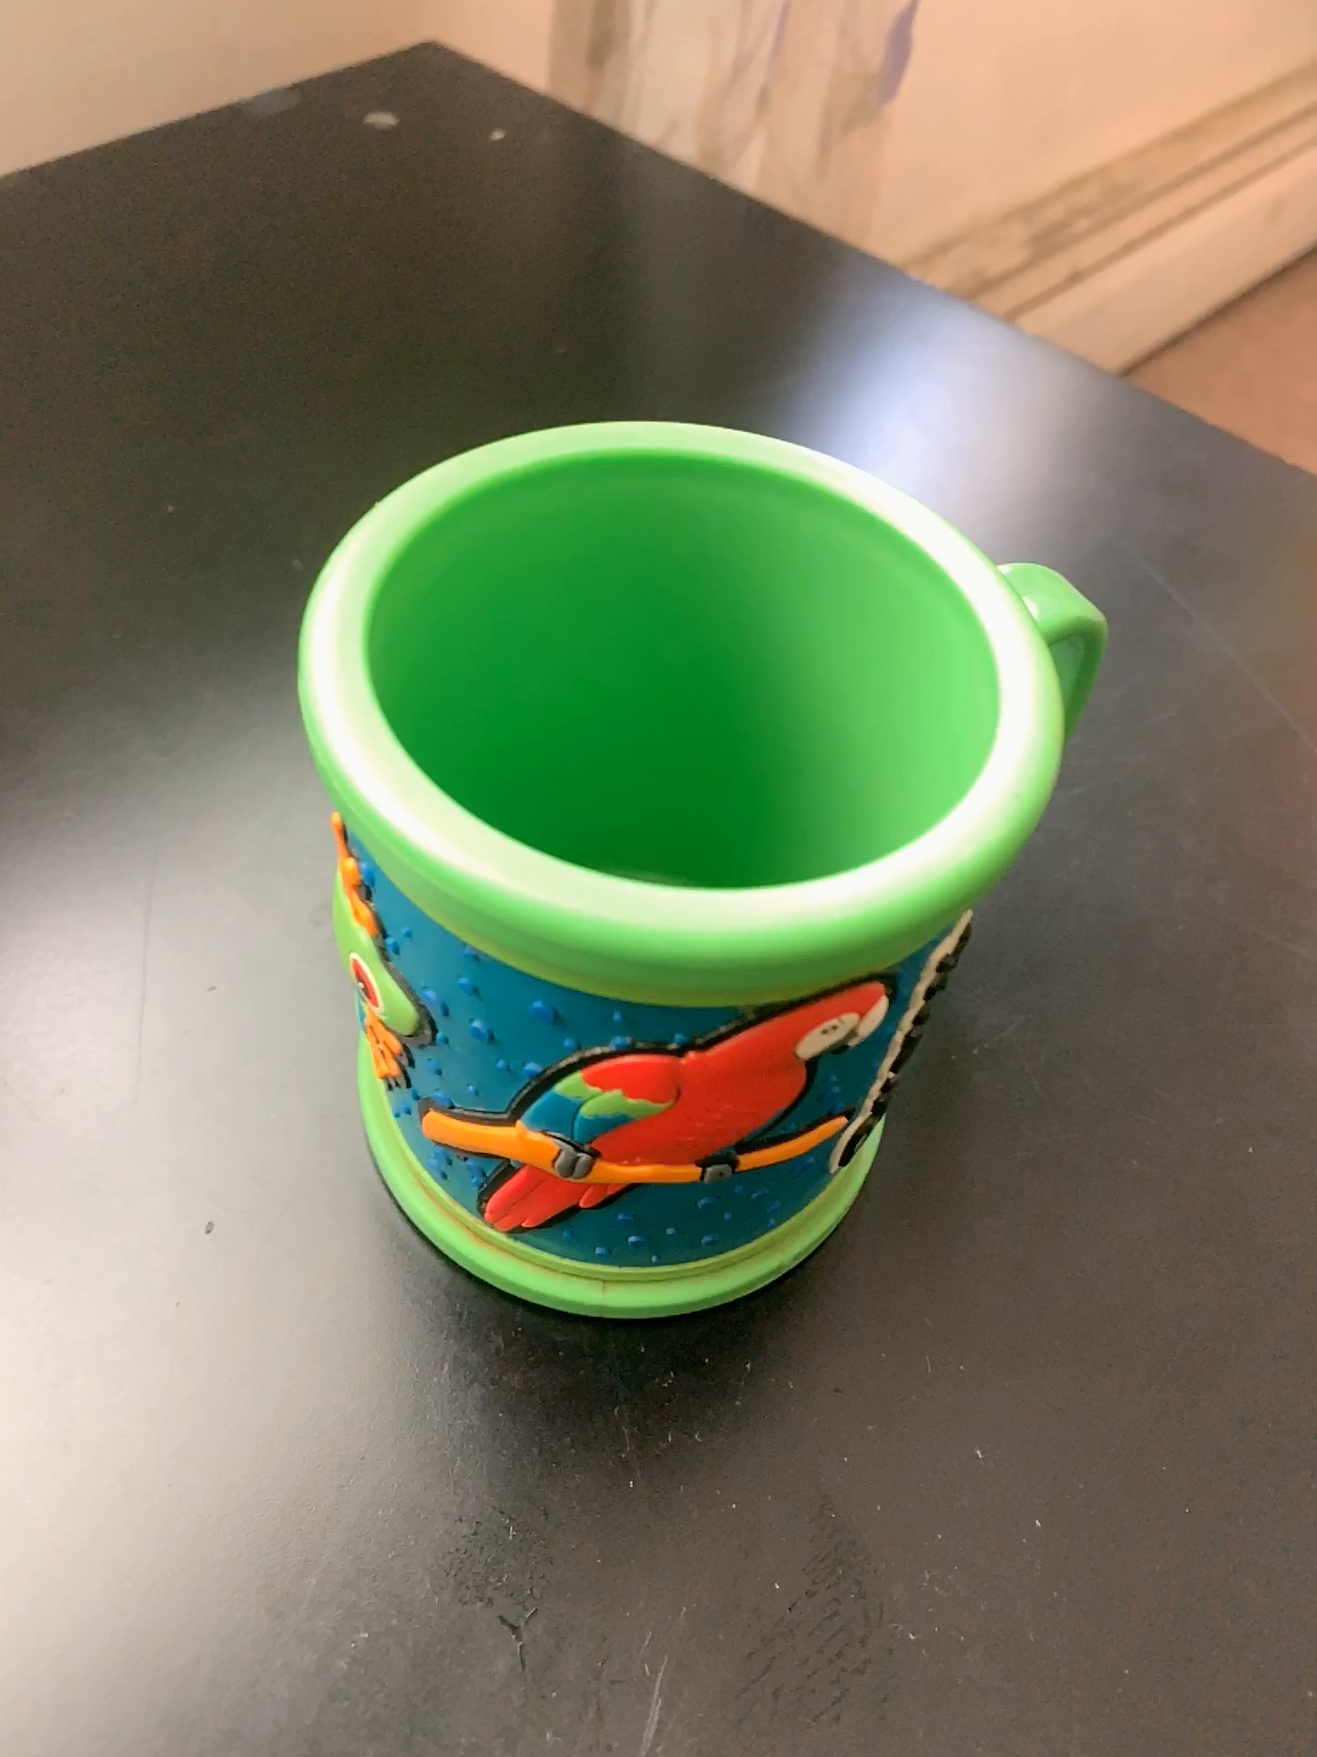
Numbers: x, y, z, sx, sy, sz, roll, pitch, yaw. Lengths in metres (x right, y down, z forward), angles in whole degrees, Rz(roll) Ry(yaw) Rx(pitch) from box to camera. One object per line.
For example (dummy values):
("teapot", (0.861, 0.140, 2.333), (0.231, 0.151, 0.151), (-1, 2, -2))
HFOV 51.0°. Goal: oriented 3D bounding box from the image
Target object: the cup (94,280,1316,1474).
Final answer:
("cup", (0.008, -0.003, 0.188), (0.120, 0.099, 0.080), (-24, 57, -24))
